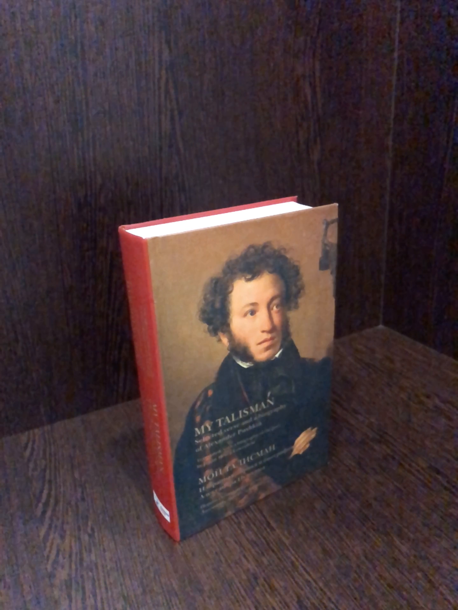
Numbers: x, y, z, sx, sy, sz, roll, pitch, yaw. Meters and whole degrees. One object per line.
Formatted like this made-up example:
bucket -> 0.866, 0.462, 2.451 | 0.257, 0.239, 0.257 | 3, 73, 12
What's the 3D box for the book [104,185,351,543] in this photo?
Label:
book -> 0.005, 0.034, 0.339 | 0.137, 0.201, 0.054 | -15, 26, -28
